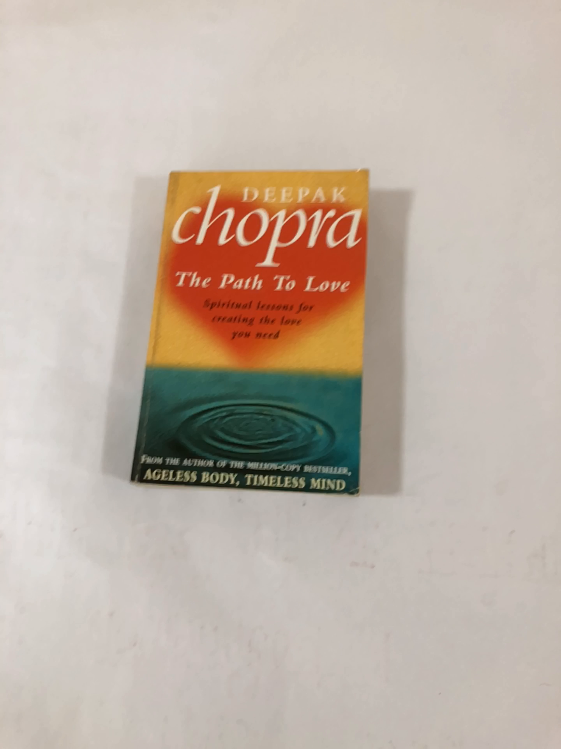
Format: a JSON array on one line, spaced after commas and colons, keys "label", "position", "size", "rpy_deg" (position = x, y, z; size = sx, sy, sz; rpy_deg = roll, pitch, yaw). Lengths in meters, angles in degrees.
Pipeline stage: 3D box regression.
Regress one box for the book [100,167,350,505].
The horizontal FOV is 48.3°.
[{"label": "book", "position": [-0.027, -0.027, 0.384], "size": [0.130, 0.040, 0.200], "rpy_deg": [3, 73, 3]}]
